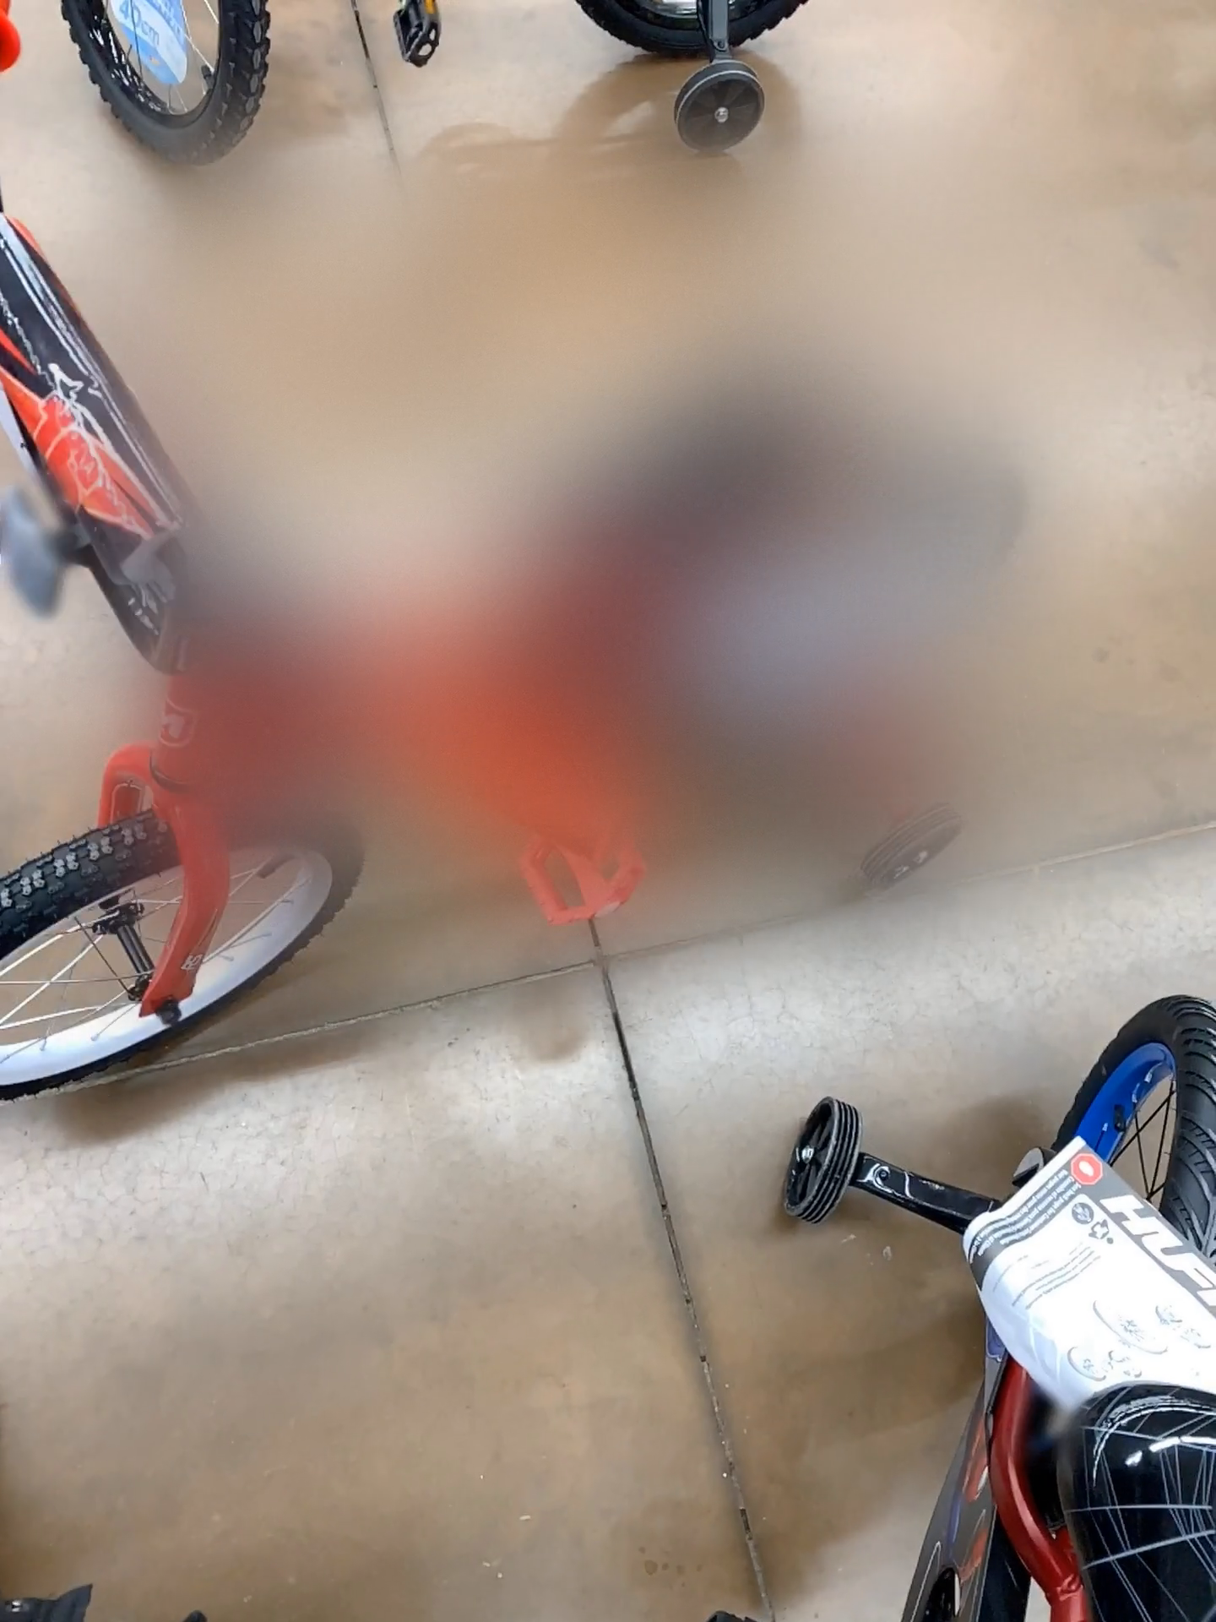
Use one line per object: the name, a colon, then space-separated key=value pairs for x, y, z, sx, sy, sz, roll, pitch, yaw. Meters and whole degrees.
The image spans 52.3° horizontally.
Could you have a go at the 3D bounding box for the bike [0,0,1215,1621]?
bike: x=-0.031 y=-0.094 z=0.887 sx=1.069 sy=0.852 sz=0.586 roll=-27 pitch=72 yaw=-16
